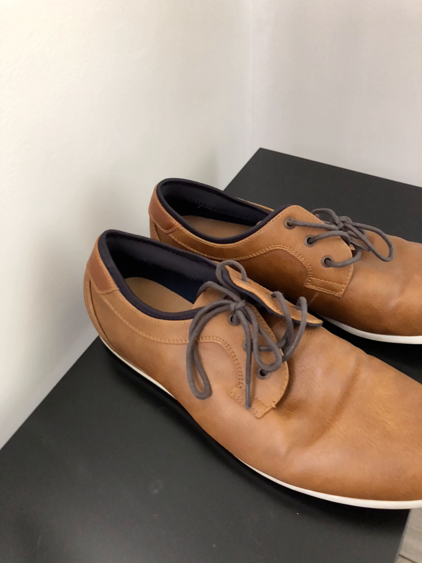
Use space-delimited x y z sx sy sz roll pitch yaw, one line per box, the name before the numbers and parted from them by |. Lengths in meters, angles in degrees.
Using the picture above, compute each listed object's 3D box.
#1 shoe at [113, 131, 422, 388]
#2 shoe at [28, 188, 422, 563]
shoe | 0.078 -0.028 0.376 0.280 0.100 0.104 15 50 18
shoe | 0.029 0.050 0.297 0.271 0.100 0.104 25 54 25
